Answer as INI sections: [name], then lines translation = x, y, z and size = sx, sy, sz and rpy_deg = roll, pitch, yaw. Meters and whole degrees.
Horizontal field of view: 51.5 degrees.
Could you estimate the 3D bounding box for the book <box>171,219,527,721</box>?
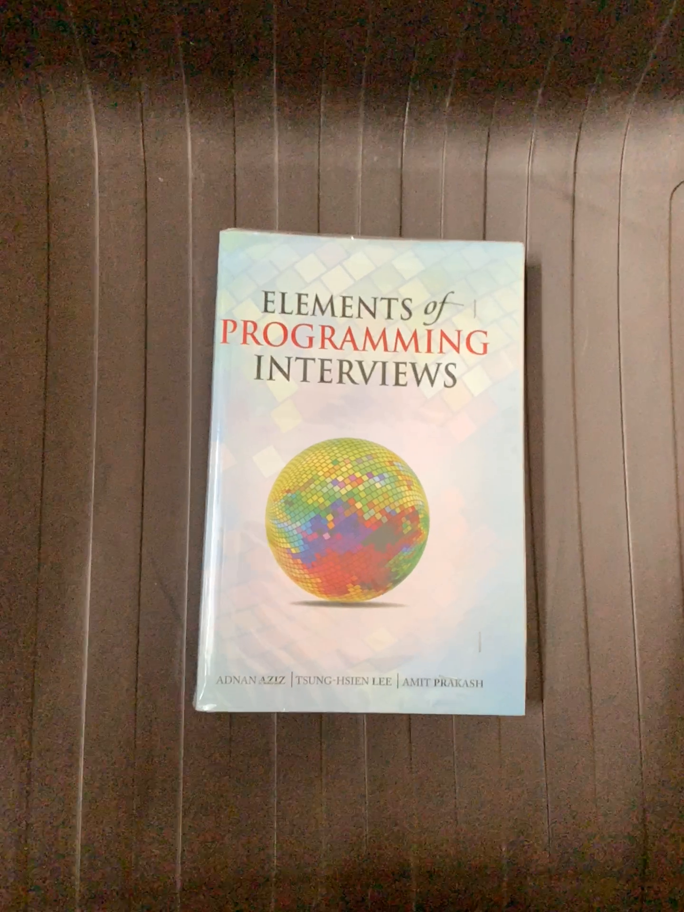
[book]
translation = 0.006, 0.007, 0.356
size = 0.160, 0.050, 0.230
rpy_deg = 2, 83, -4
